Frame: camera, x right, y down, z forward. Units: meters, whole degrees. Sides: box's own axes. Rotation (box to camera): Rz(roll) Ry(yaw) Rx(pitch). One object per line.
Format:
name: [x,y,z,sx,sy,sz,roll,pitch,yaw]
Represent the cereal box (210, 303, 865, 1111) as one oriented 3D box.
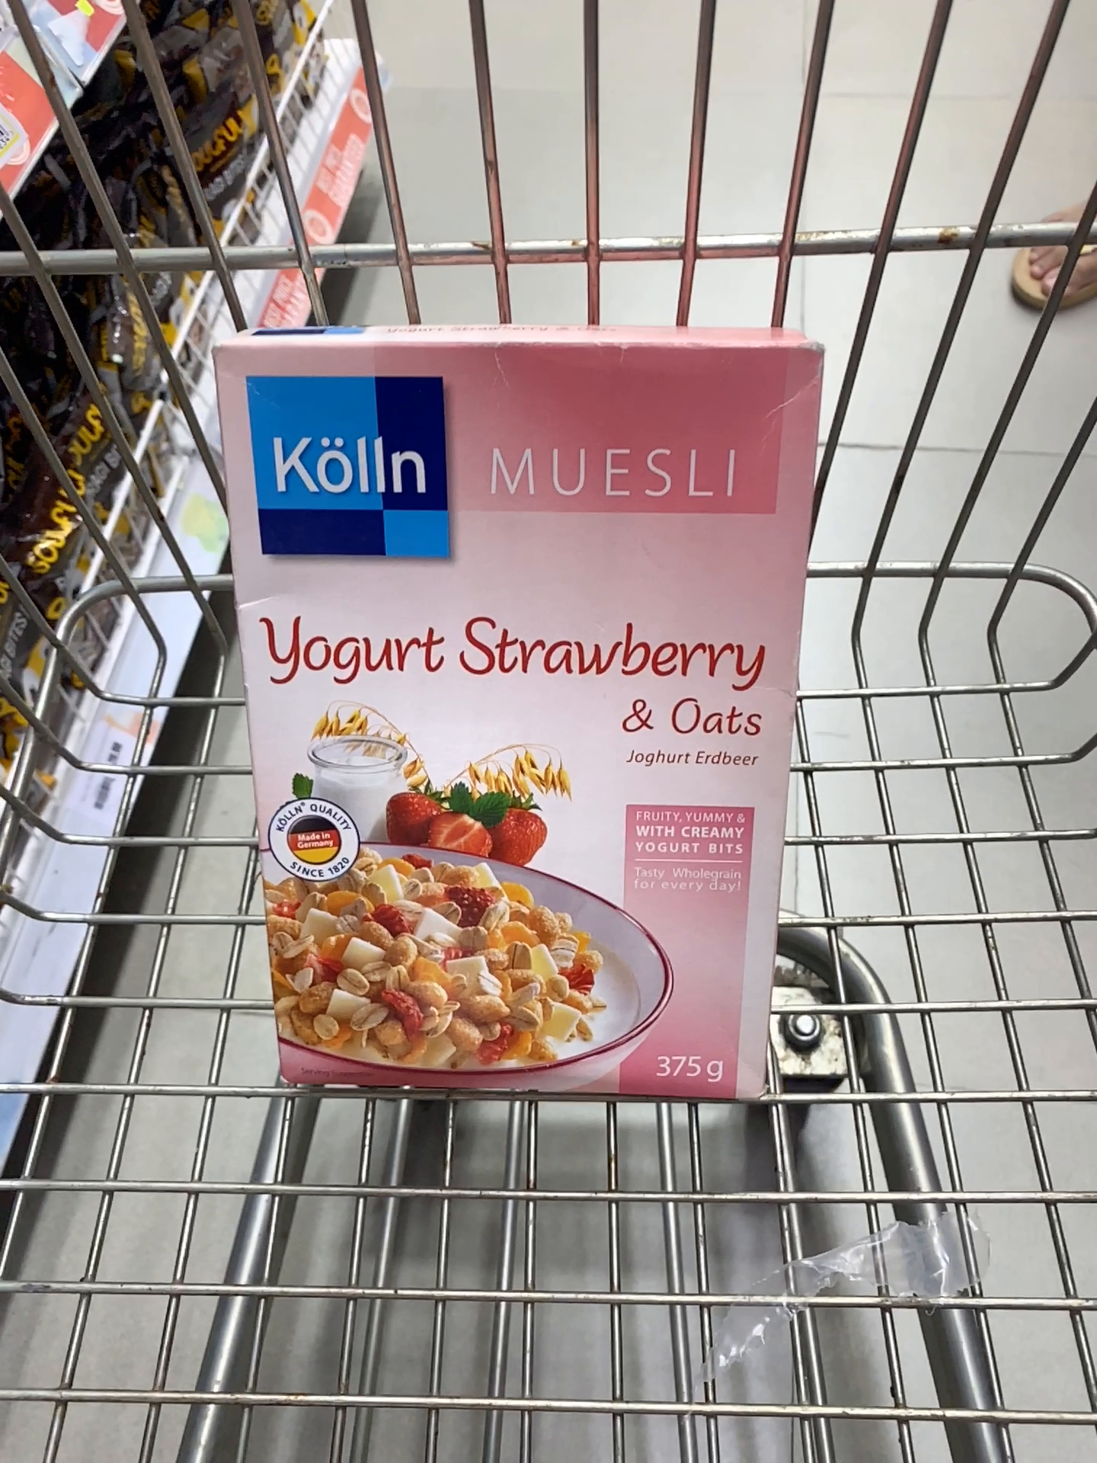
cereal box: [-0.002,-0.003,0.319,0.150,0.220,0.050,1,20,3]
